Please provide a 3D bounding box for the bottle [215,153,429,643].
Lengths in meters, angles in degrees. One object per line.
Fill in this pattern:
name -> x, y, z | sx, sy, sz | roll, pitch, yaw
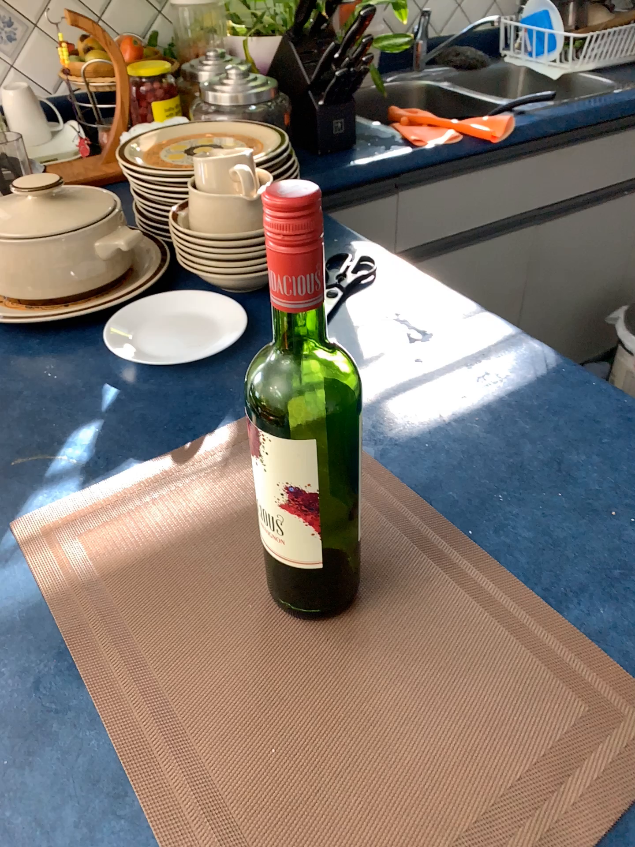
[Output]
bottle -> 0.003, 0.004, 0.402 | 0.080, 0.297, 0.081 | -1, 38, 1
